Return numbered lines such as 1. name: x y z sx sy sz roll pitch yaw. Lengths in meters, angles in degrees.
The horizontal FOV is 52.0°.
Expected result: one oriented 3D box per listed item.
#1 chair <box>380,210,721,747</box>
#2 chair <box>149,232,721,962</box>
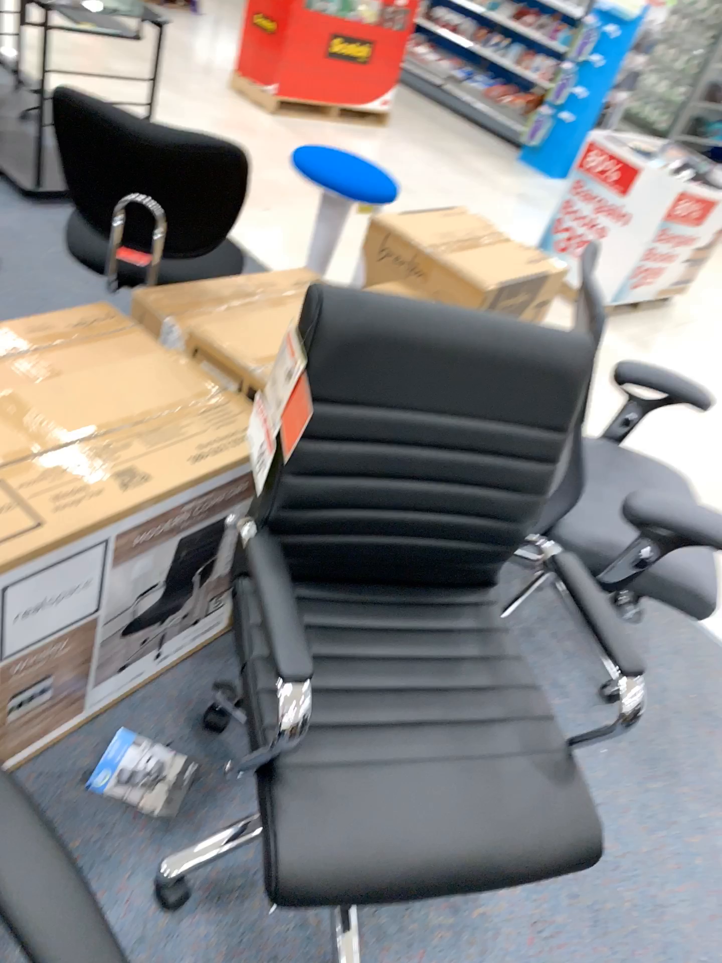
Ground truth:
1. chair: 0.599 -0.021 1.831 0.719 0.875 0.737 23 37 0
2. chair: 0.083 0.280 1.119 0.655 0.954 0.651 6 40 -21
